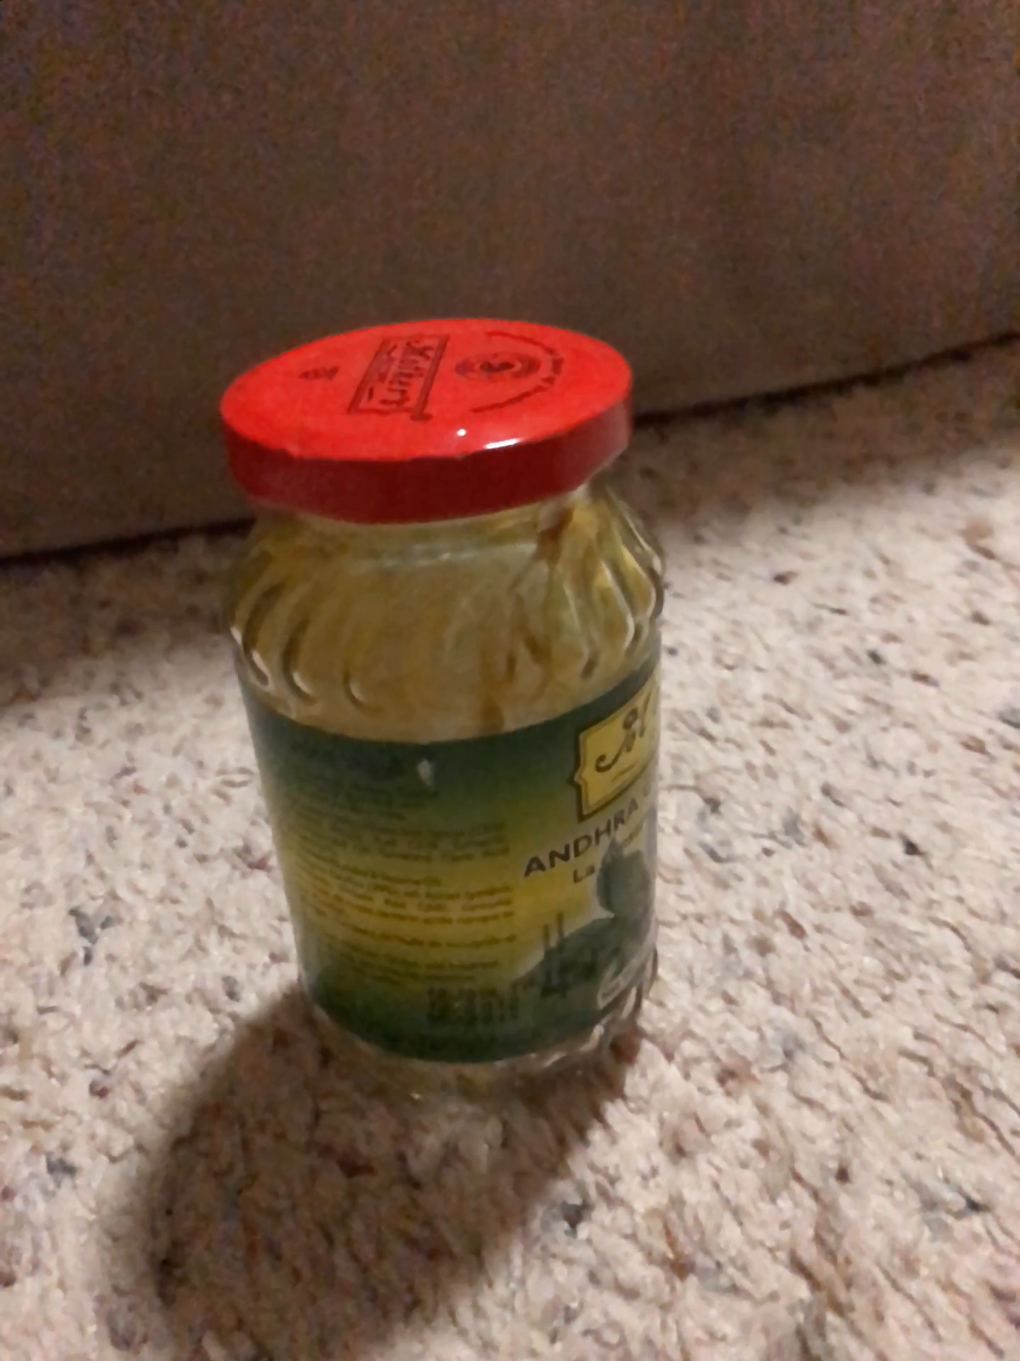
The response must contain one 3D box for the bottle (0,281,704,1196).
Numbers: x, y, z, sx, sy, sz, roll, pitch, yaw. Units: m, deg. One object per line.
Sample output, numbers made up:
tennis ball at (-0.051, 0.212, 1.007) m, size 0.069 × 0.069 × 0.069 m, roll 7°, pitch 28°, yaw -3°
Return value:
bottle at (-0.010, 0.007, 0.168) m, size 0.070 × 0.110 × 0.070 m, roll -1°, pitch 32°, yaw 1°
